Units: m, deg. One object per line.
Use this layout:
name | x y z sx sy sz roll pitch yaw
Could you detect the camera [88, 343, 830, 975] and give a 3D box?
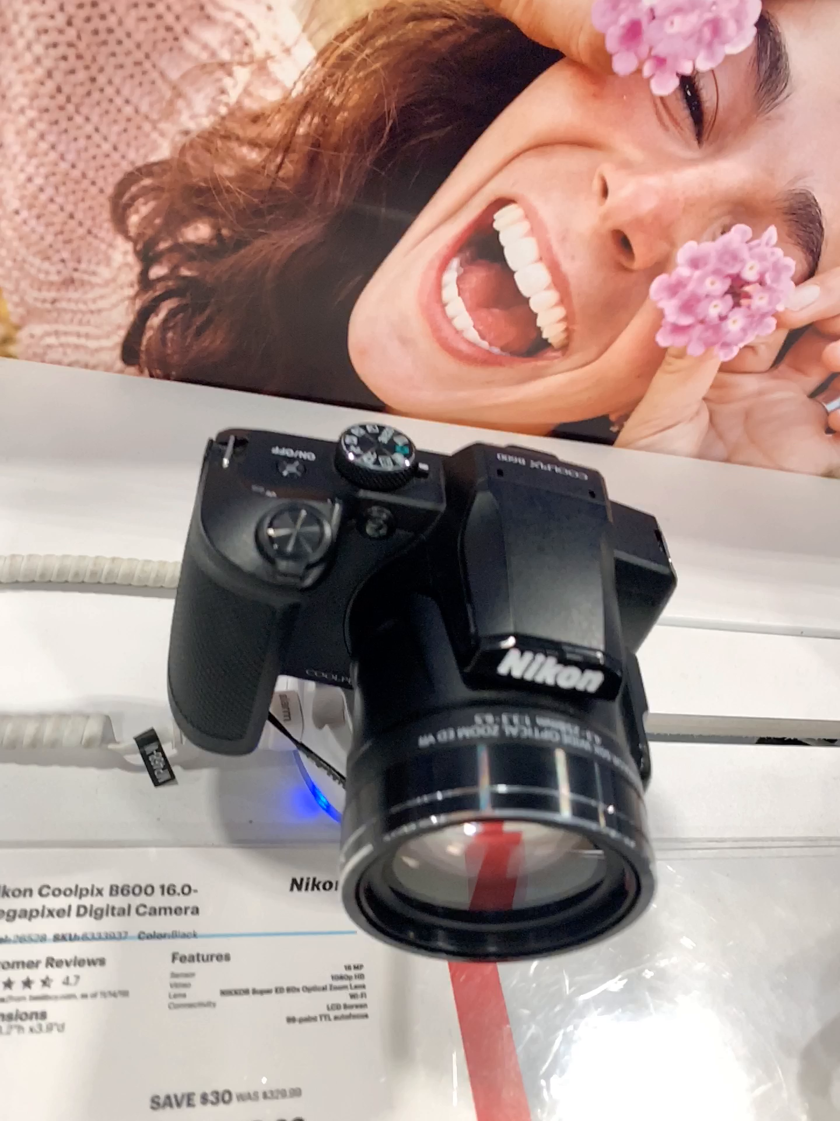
camera | 0.000 0.023 0.200 0.120 0.080 0.100 10 40 -13
